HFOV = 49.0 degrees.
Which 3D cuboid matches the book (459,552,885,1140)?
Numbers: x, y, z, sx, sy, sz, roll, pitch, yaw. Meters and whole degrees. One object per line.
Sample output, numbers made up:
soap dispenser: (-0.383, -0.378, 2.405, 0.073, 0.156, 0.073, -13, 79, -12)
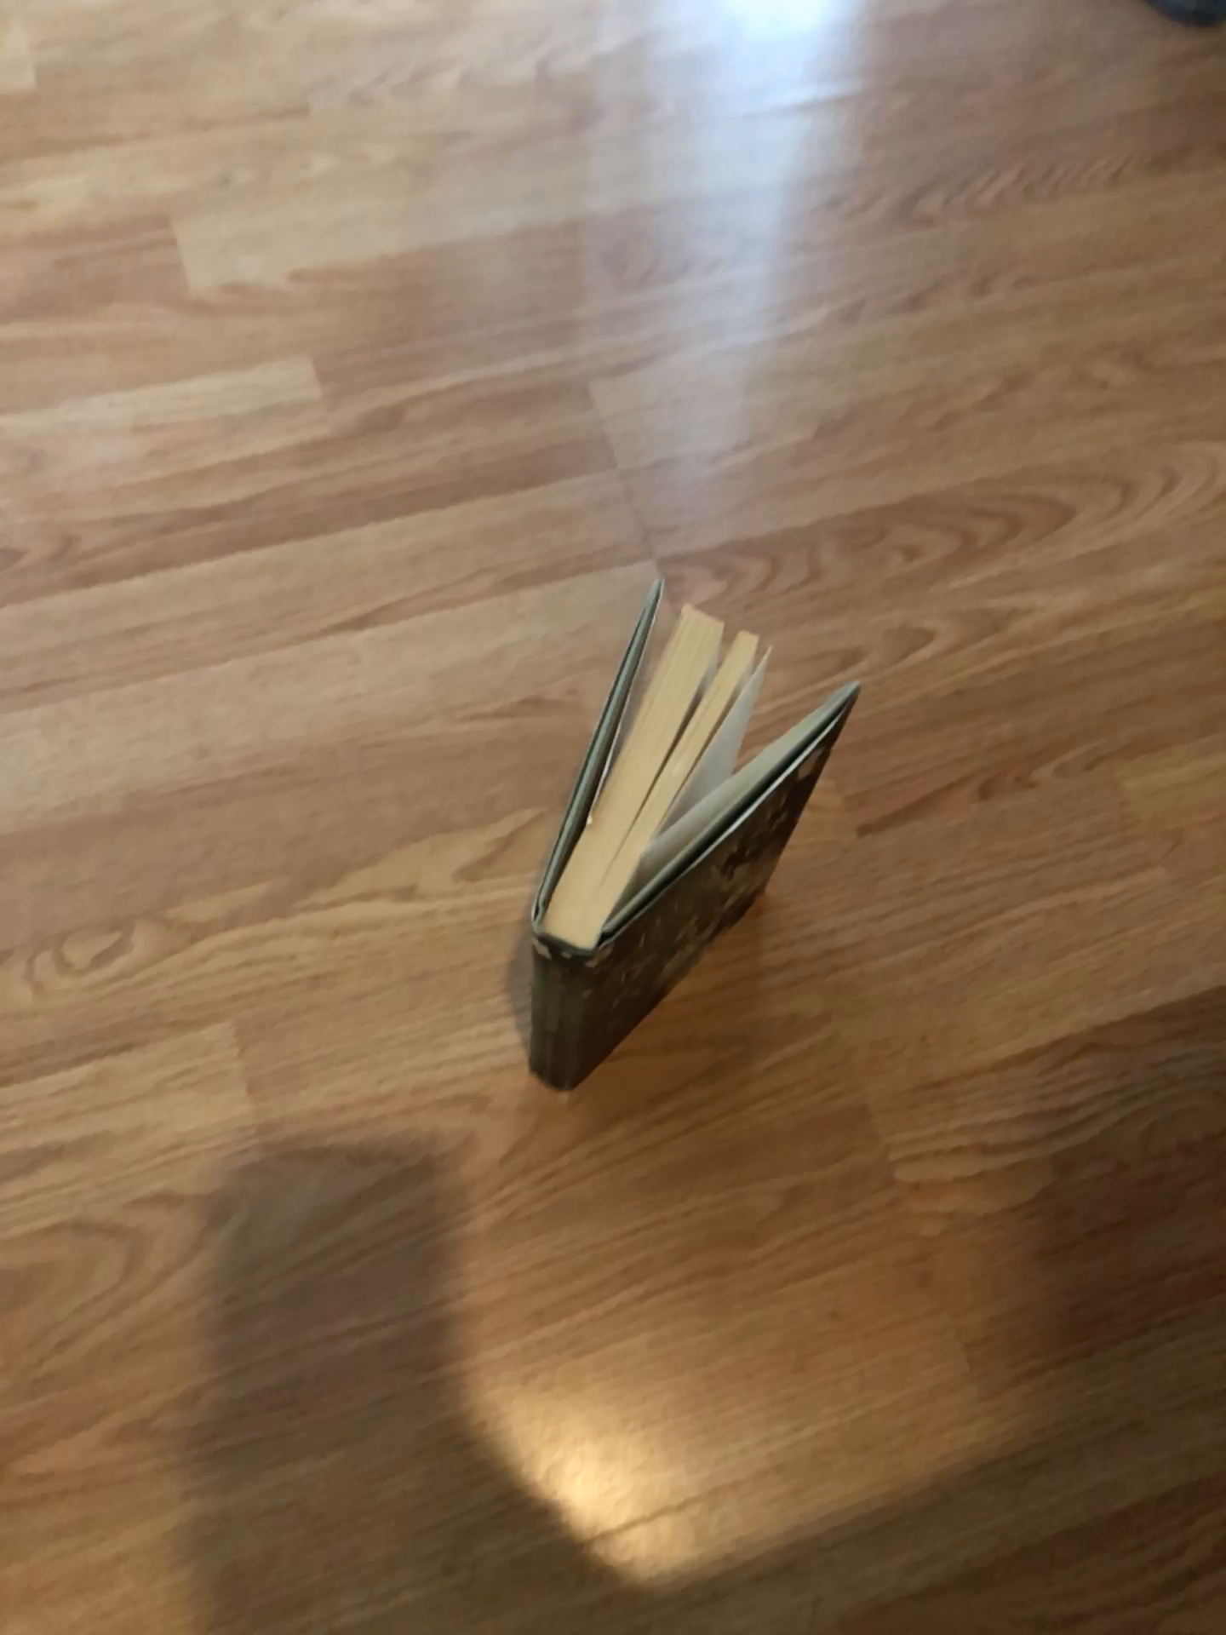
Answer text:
book: (0.014, 0.026, 0.549, 0.080, 0.220, 0.150, 30, 67, 8)
